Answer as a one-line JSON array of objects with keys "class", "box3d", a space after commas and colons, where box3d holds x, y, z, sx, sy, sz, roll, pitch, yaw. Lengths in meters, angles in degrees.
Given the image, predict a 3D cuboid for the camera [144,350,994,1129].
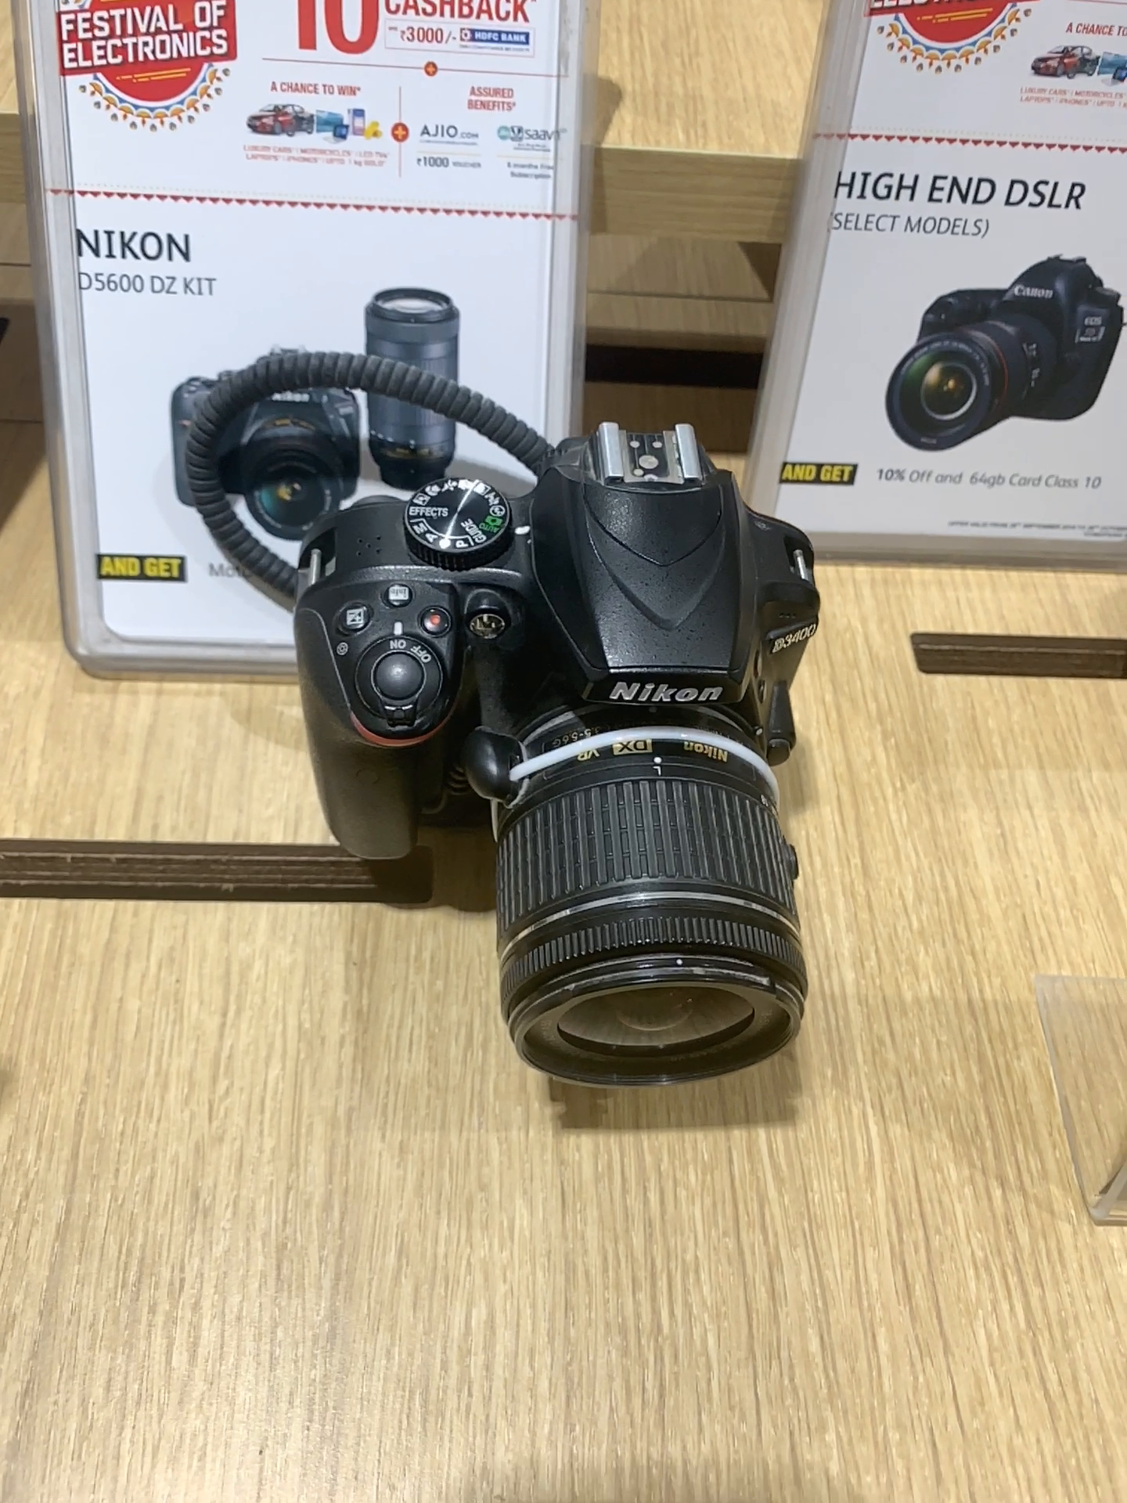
[{"class": "camera", "box3d": [-0.005, -0.002, 0.240, 0.120, 0.100, 0.120, -1, 54, -5]}]
